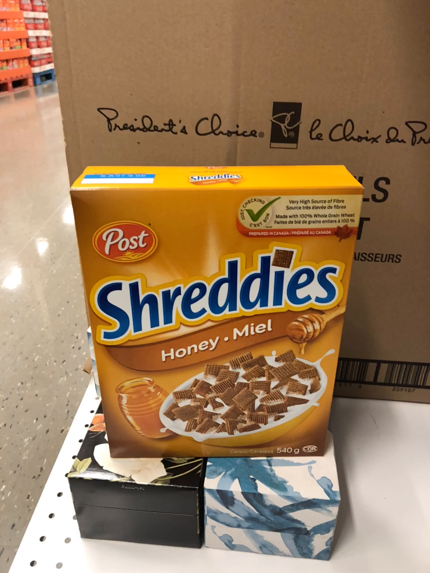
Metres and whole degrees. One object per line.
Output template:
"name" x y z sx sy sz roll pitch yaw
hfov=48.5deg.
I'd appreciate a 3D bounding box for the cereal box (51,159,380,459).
"cereal box" 0.000 0.029 0.407 0.220 0.259 0.060 -1 28 -1
